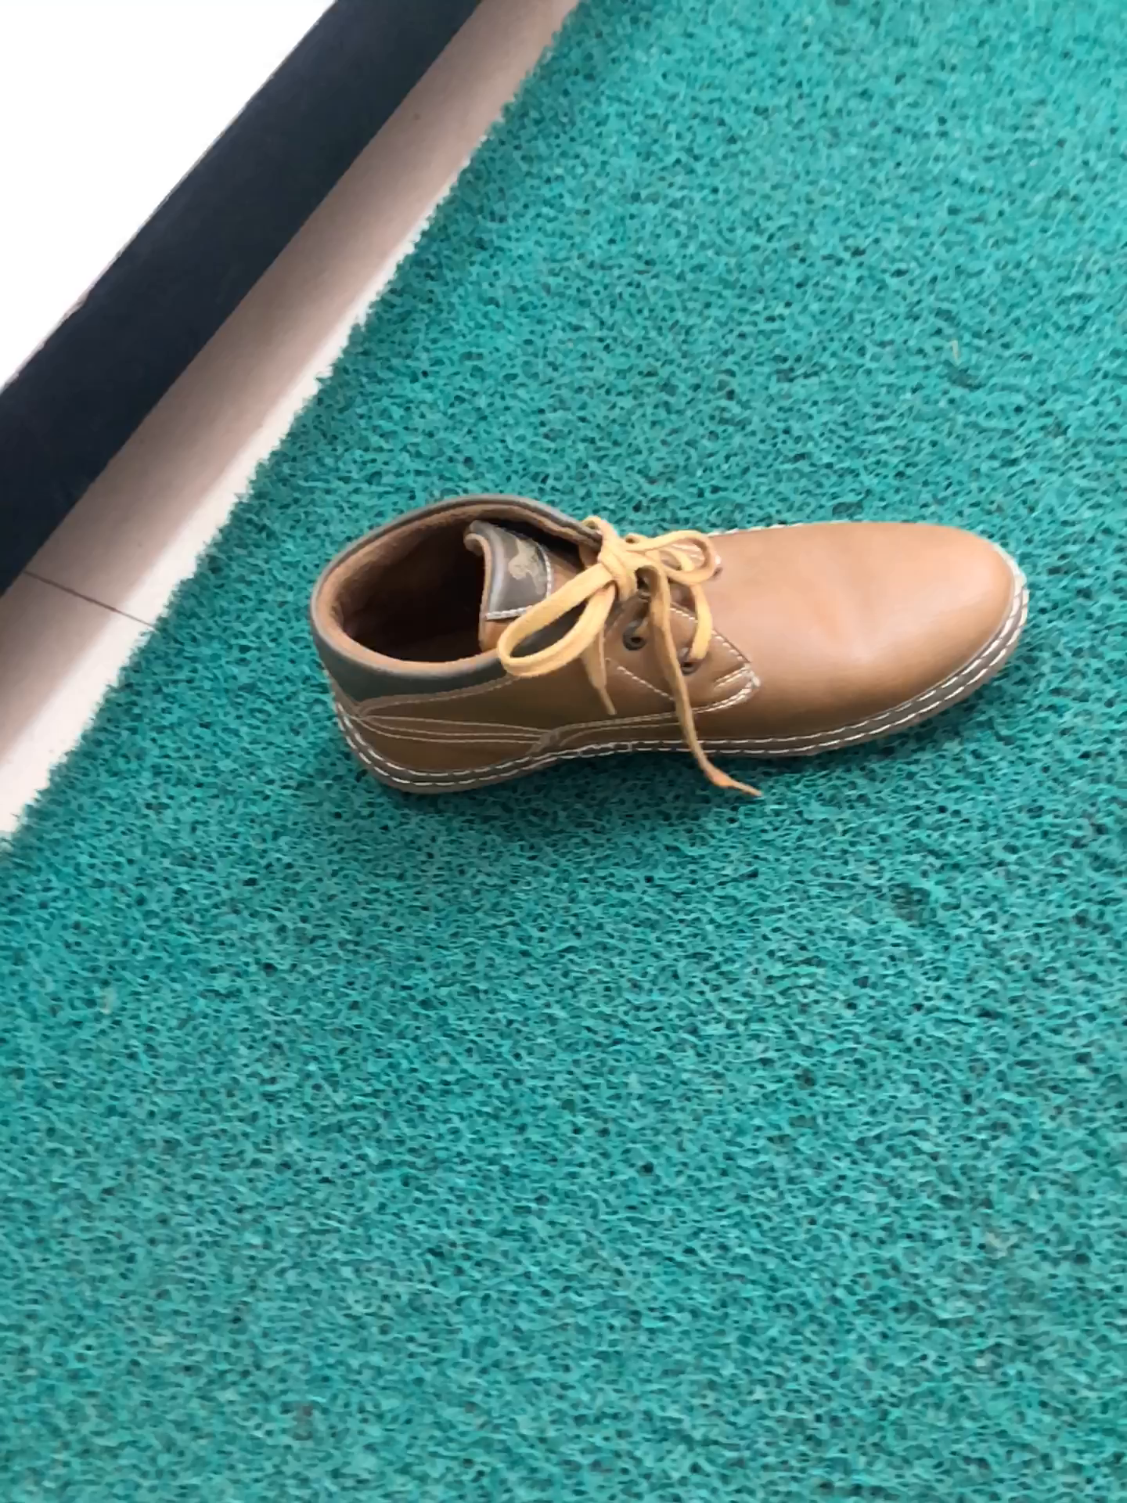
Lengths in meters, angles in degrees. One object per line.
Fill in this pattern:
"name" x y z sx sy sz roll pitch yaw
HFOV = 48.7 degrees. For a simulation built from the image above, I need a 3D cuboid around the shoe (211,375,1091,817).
"shoe" 0.027 -0.050 0.451 0.280 0.080 0.100 -6 64 10
